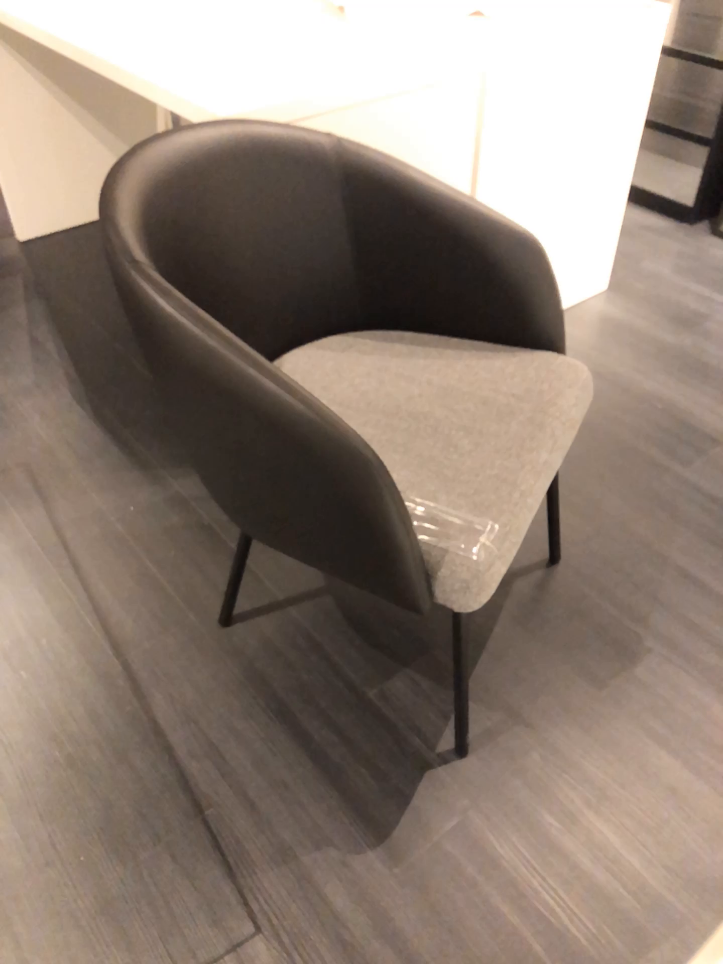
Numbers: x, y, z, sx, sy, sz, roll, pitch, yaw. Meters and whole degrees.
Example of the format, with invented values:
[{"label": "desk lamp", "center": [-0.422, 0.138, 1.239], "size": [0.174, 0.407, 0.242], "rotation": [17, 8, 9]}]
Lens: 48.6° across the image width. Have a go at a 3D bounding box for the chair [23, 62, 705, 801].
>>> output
[{"label": "chair", "center": [0.045, -0.100, 1.206], "size": [0.591, 0.764, 0.614], "rotation": [20, 46, 21]}]
